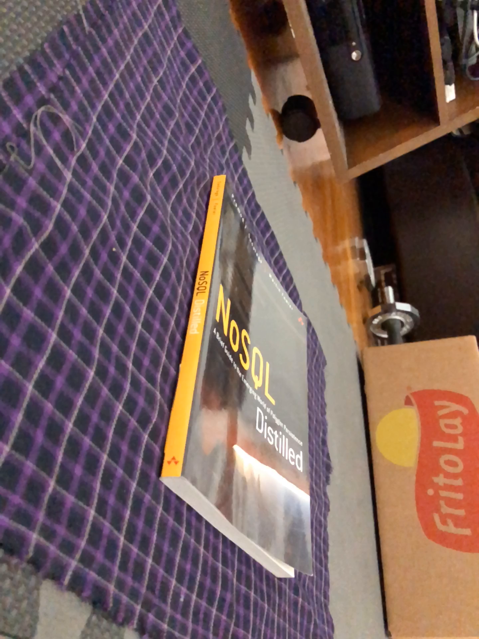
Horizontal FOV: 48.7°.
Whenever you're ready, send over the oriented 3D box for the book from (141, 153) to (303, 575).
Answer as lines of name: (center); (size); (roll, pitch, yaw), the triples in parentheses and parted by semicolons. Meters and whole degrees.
book: (0.007, 0.029, 0.393); (0.190, 0.020, 0.251); (58, 28, -44)
